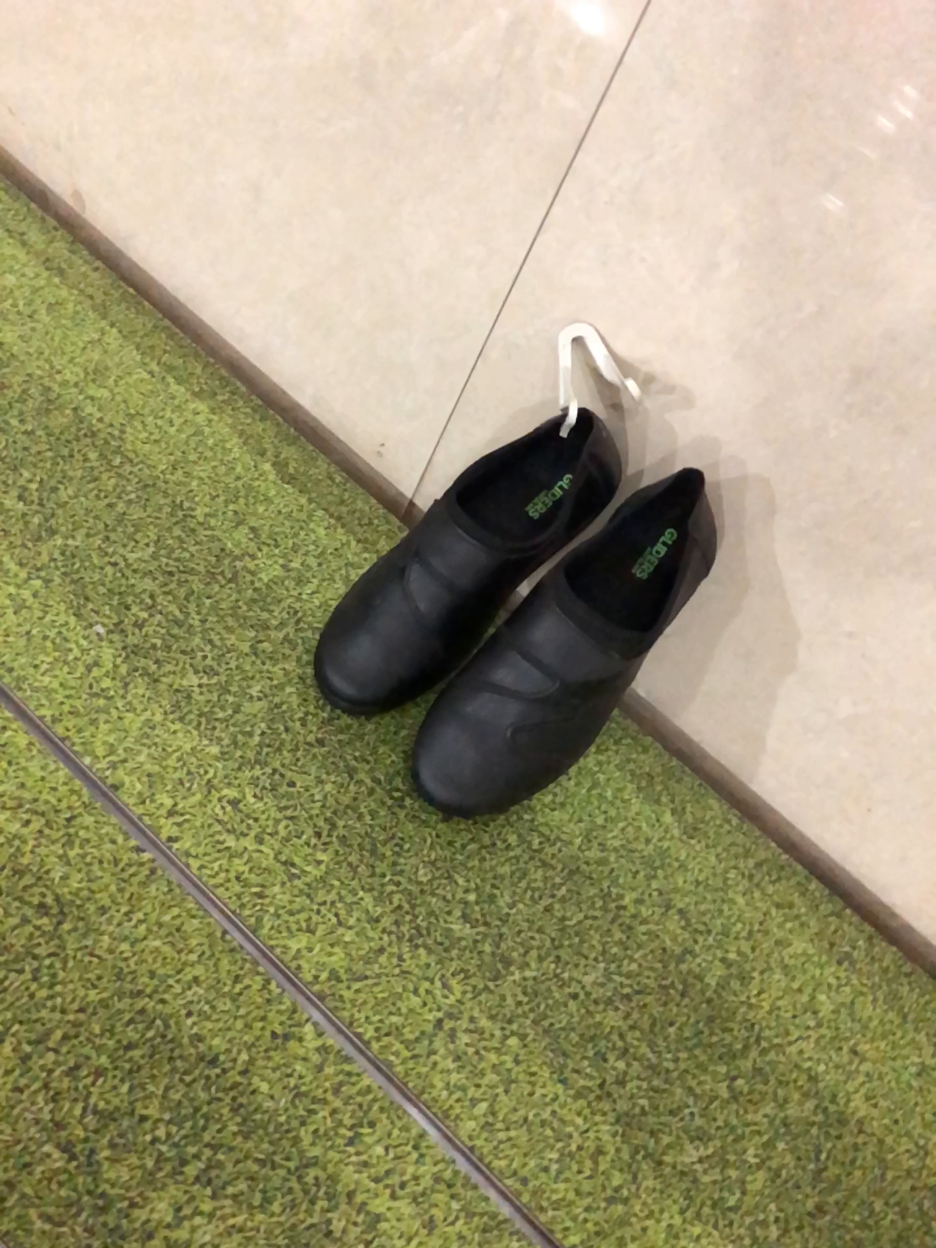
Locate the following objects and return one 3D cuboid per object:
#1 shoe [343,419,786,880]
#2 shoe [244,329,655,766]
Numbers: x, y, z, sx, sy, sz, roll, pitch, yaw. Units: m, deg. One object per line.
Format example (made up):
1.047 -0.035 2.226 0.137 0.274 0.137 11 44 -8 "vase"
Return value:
0.052 0.016 0.567 0.090 0.081 0.236 42 93 10 "shoe"
-0.006 -0.037 0.581 0.080 0.081 0.236 42 93 10 "shoe"
